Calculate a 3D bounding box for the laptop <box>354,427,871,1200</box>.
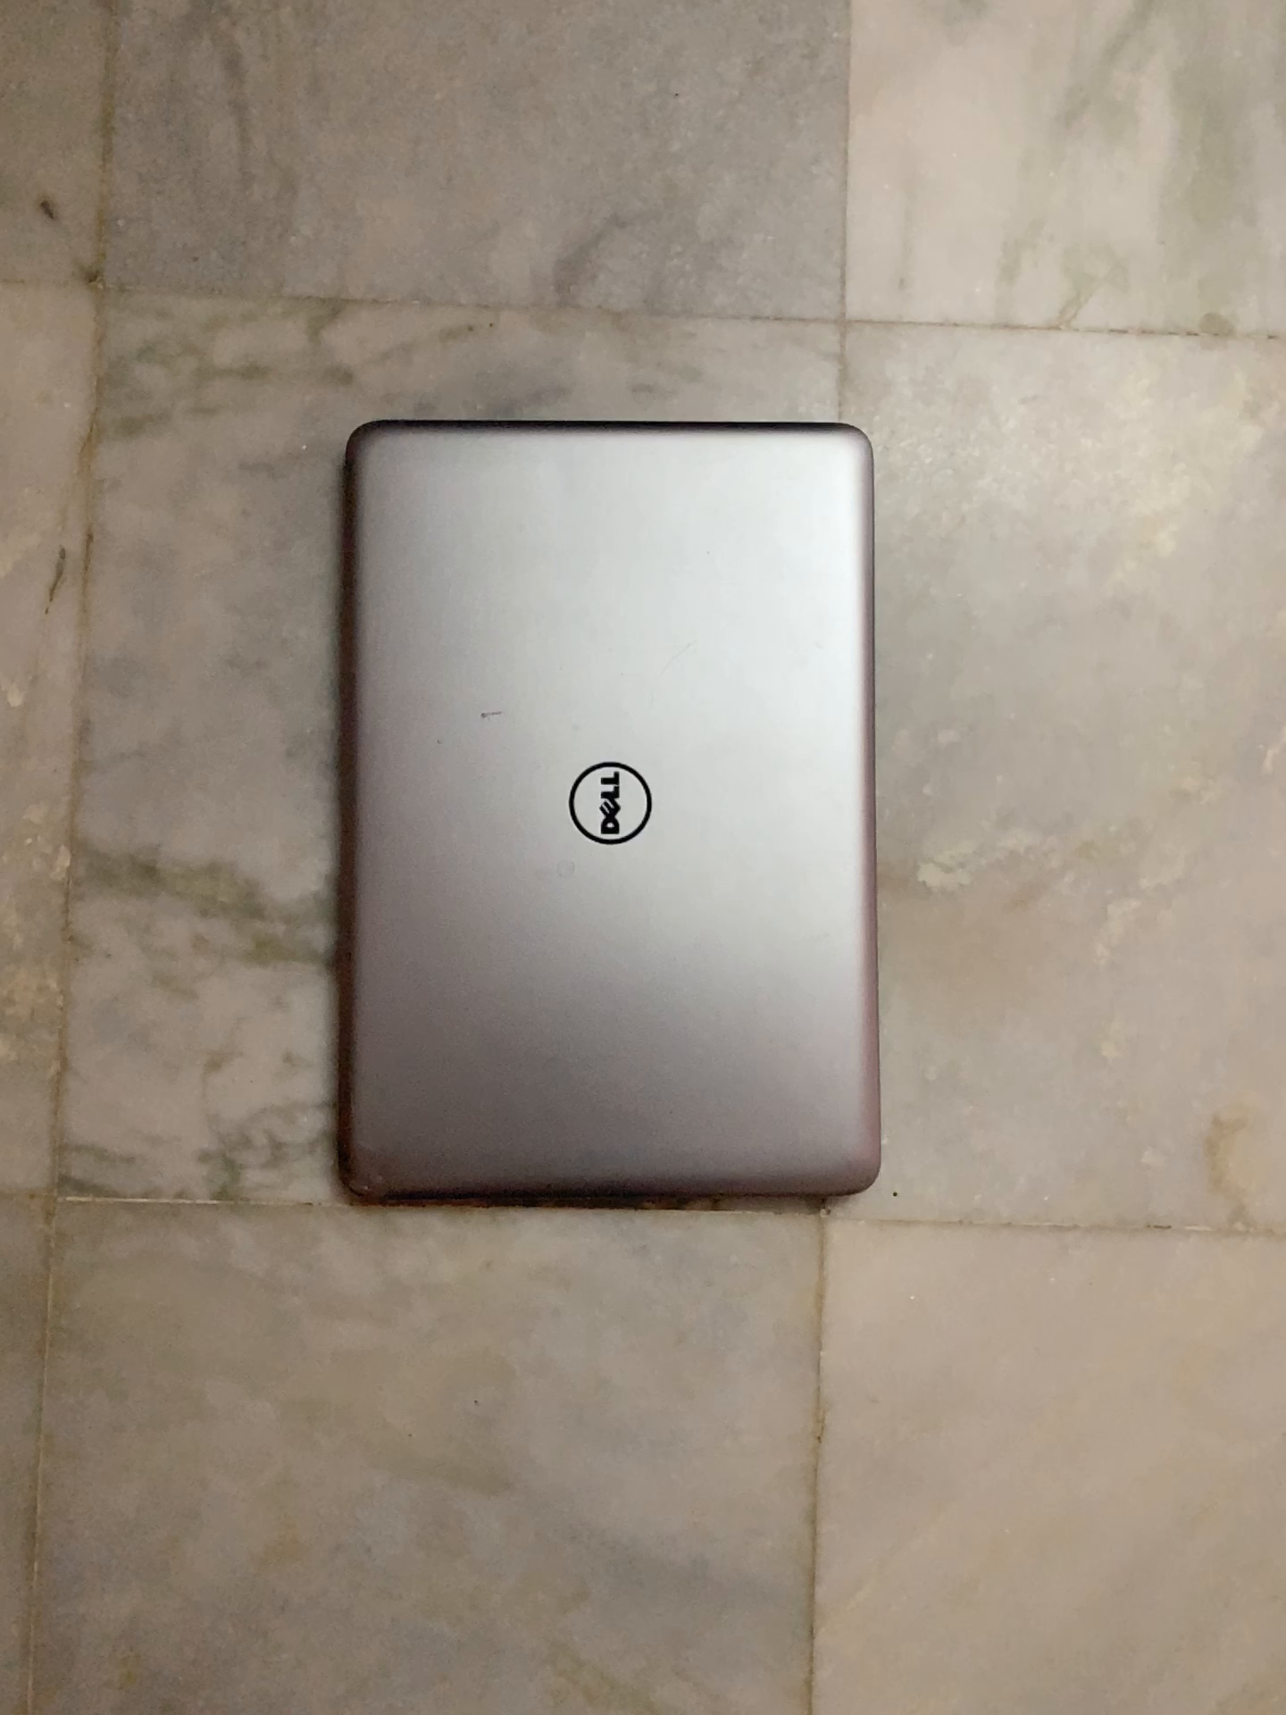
[{"bbox_3d":[-0.014,-0.022,0.603,0.234,0.001,0.351,-1,90,-2],"label":"laptop"}]
